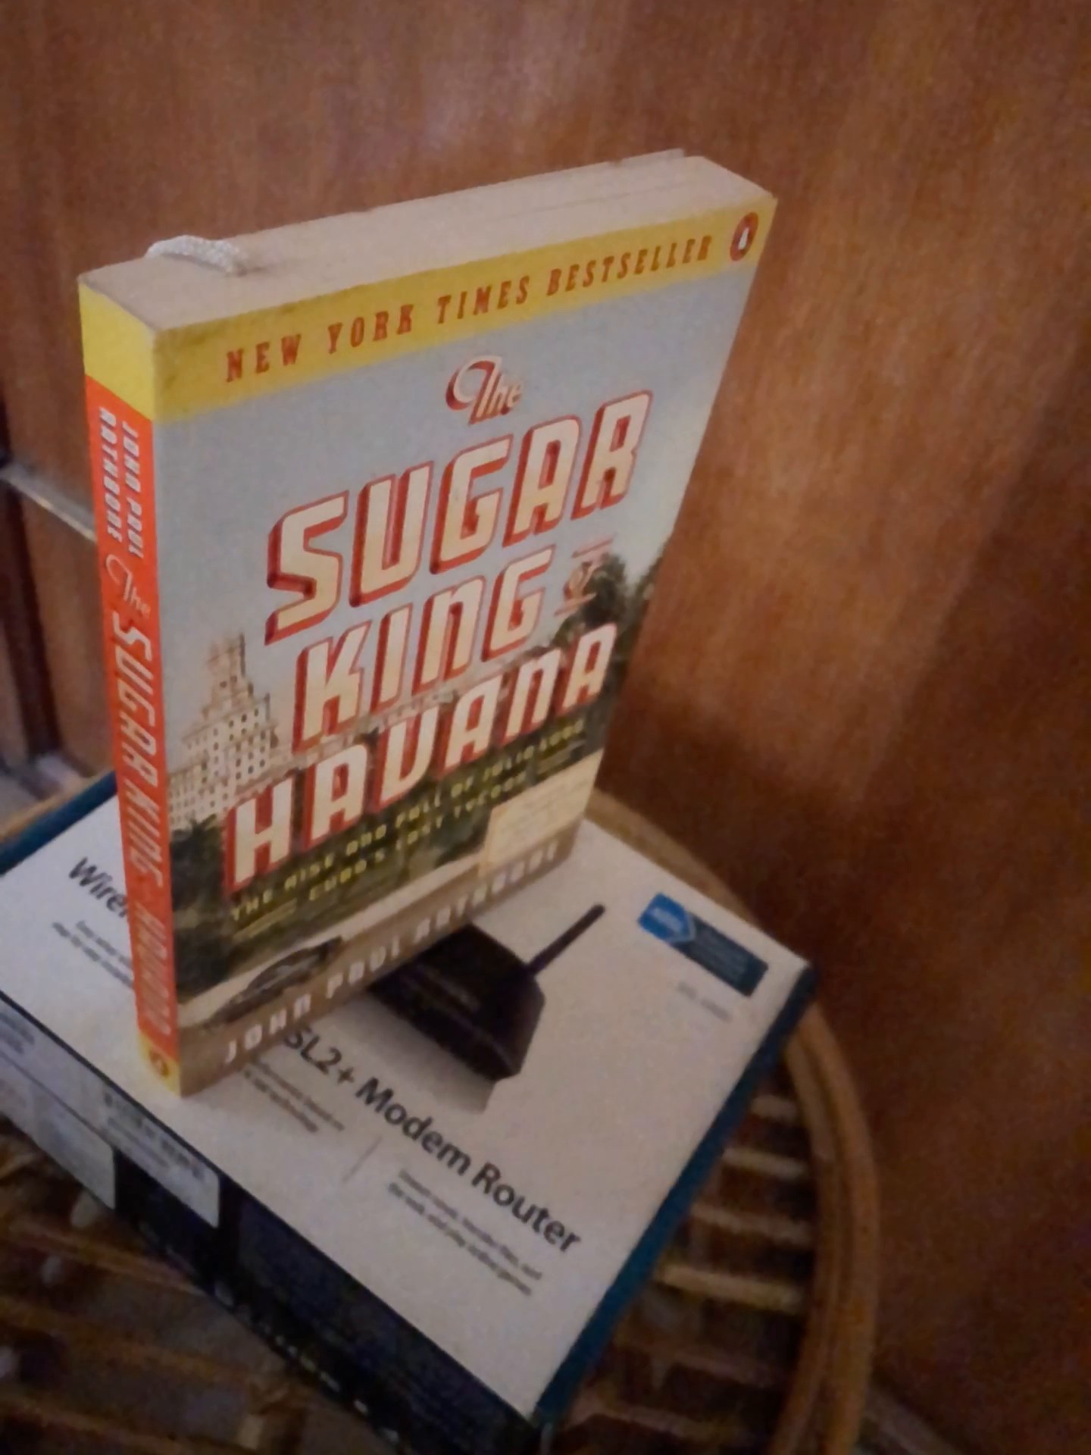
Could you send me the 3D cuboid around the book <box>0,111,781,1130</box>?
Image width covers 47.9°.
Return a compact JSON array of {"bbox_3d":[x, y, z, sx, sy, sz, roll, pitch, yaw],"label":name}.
[{"bbox_3d":[-0.034,-0.014,0.276,0.150,0.209,0.030,-28,56,-33],"label":"book"}]
